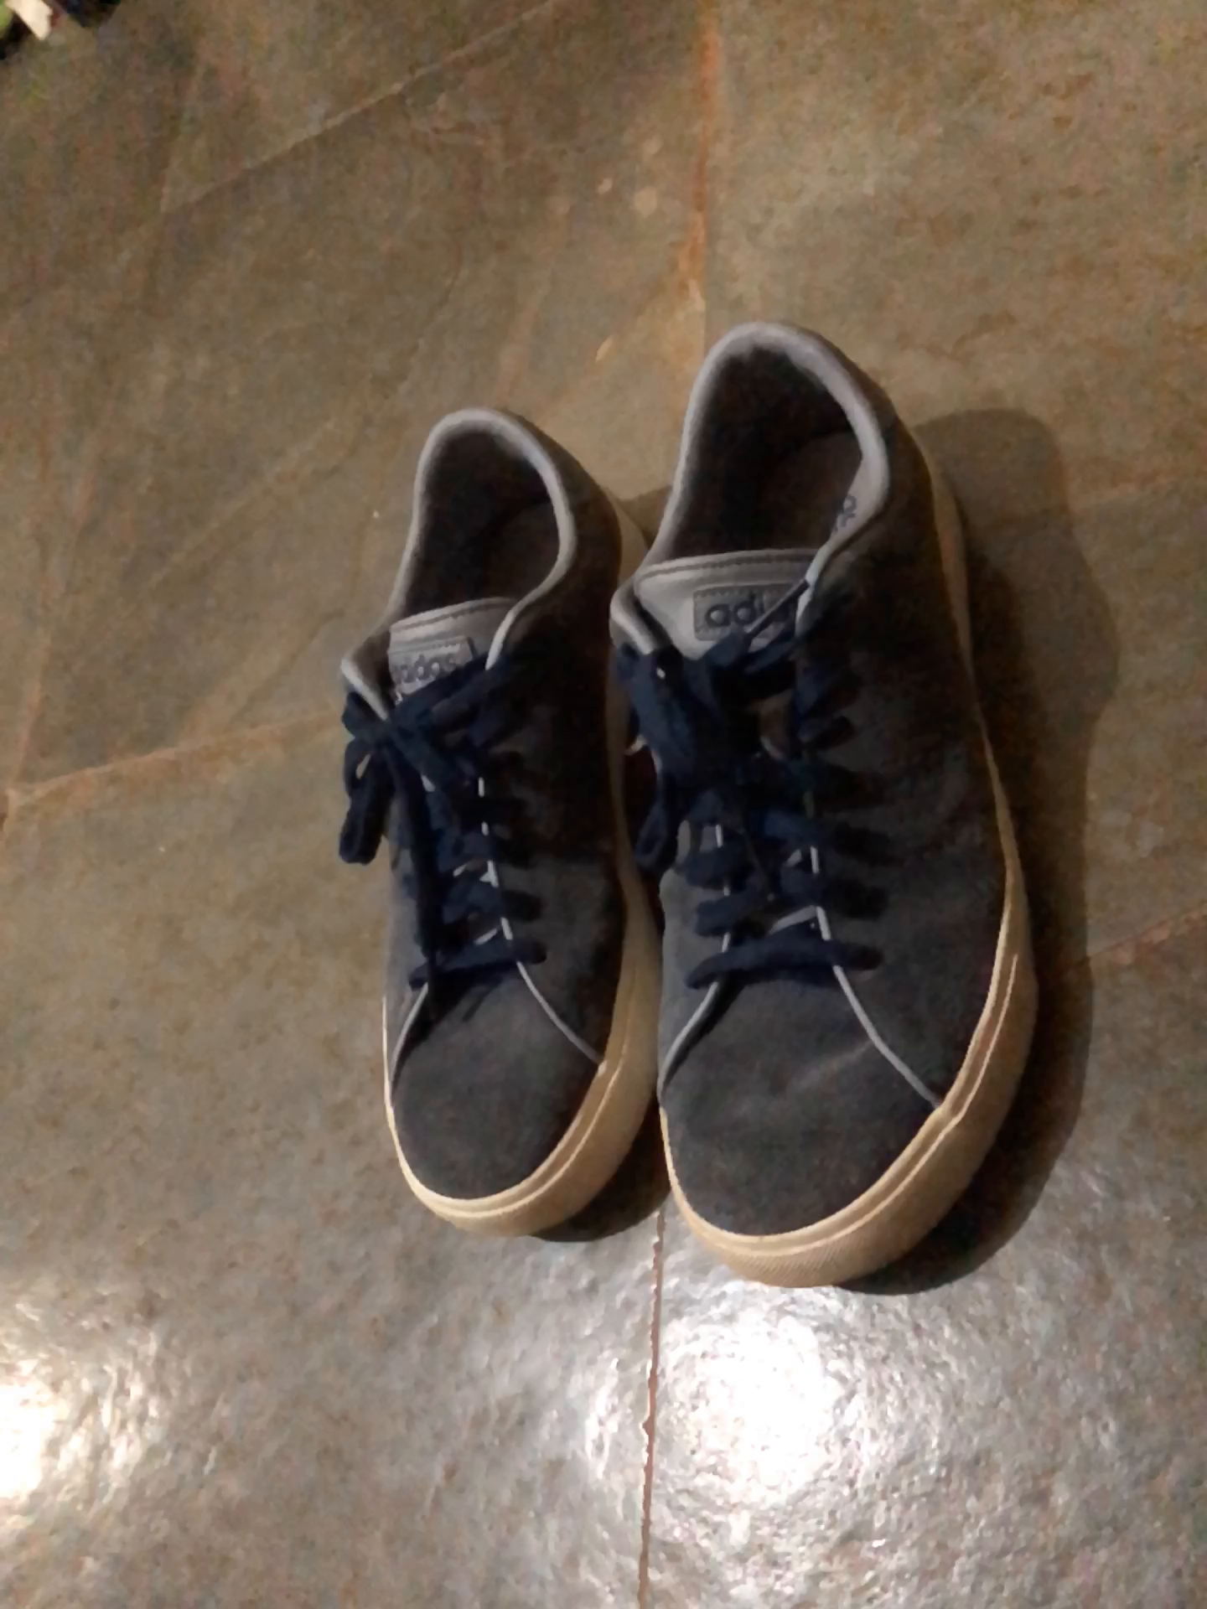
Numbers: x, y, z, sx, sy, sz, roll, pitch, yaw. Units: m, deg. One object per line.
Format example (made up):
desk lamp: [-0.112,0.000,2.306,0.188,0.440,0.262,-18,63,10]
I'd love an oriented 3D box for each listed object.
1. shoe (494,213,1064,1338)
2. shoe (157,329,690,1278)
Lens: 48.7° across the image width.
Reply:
shoe: [0.055,-0.010,0.368,0.110,0.080,0.281,-9,64,31]
shoe: [-0.045,0.000,0.416,0.110,0.080,0.271,-11,62,30]
